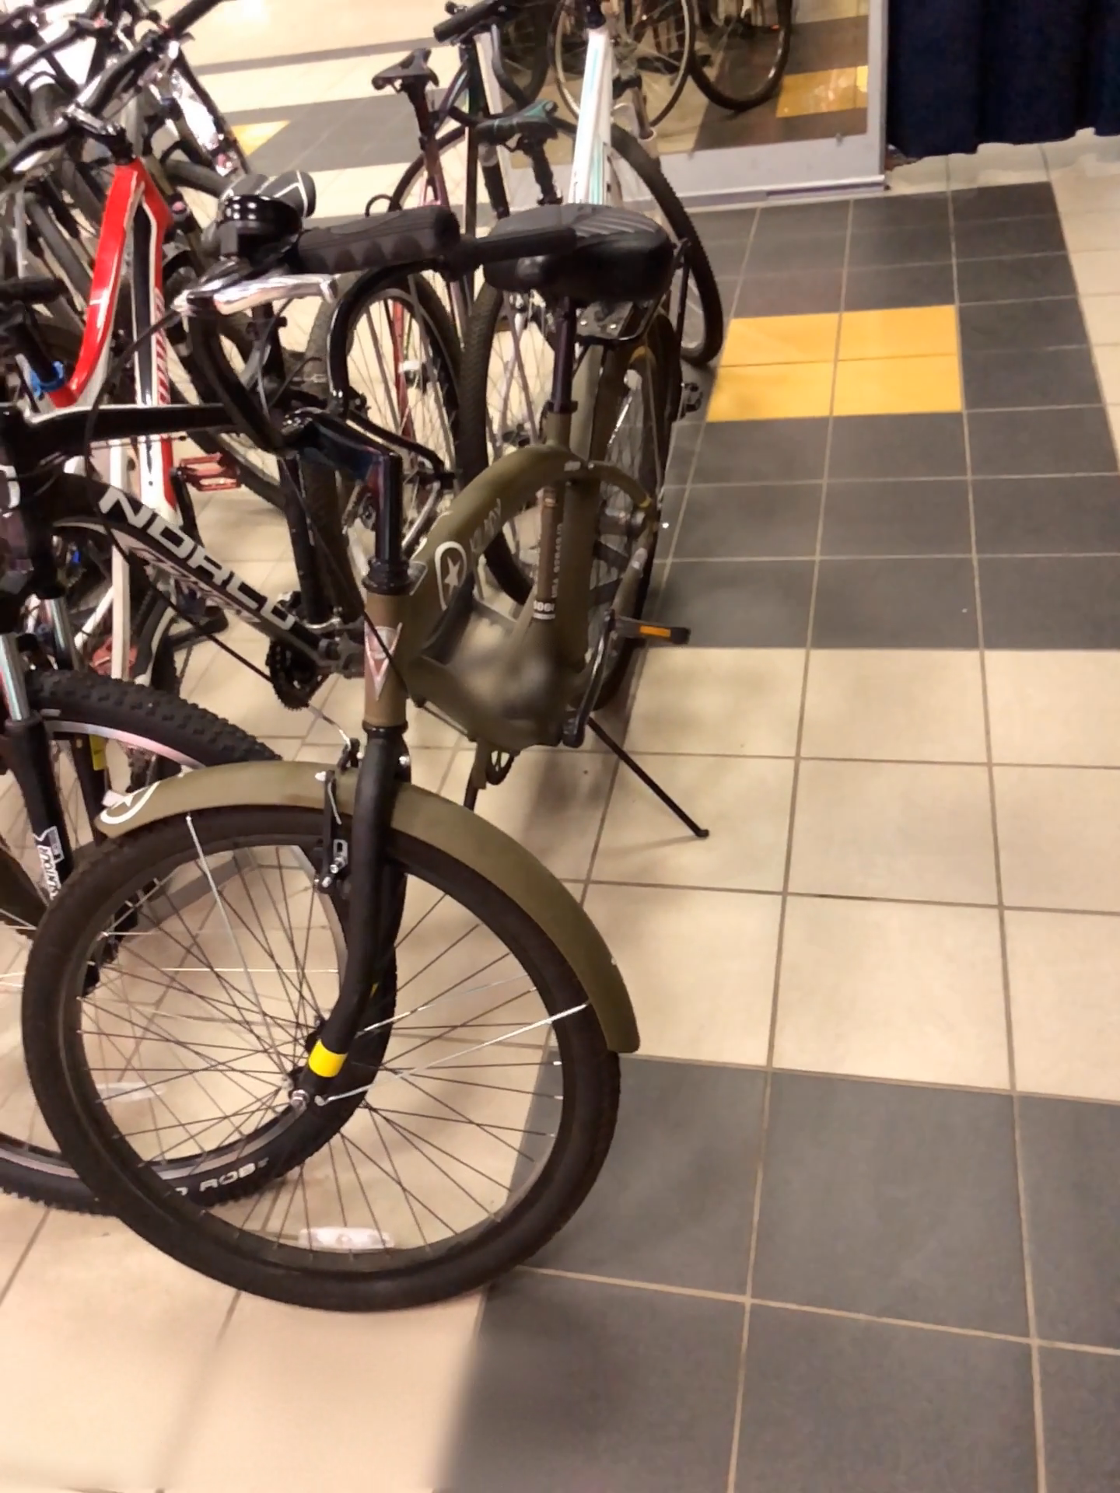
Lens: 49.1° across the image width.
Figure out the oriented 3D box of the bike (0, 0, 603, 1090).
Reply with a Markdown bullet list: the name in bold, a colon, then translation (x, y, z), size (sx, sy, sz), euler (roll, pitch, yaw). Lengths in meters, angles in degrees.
- **bike**: translation (-0.565, -0.268, 1.537), size (0.664, 1.228, 0.976), euler (10, 36, 23)

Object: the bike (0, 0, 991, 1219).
- **bike**: translation (-0.144, -0.381, 1.583), size (0.833, 1.131, 1.500), euler (13, 42, 27)
